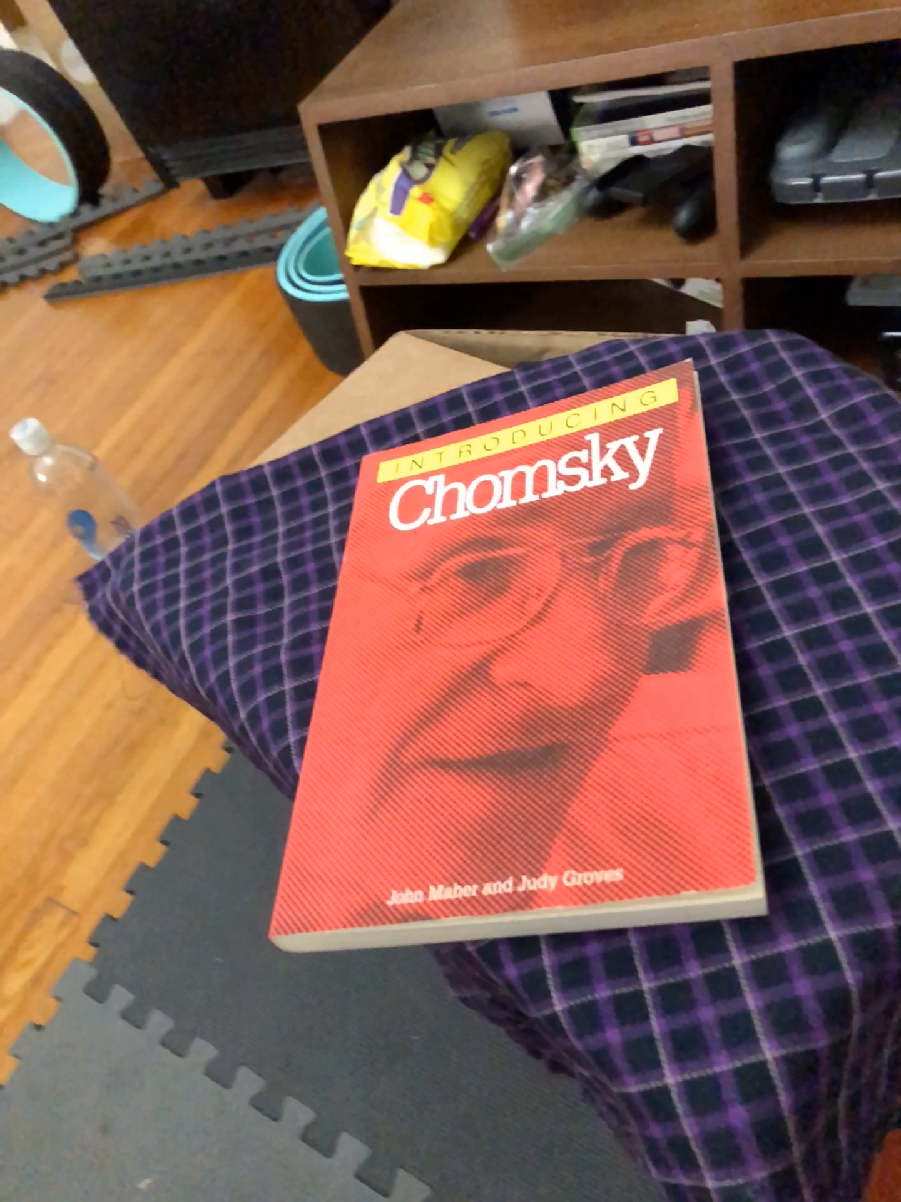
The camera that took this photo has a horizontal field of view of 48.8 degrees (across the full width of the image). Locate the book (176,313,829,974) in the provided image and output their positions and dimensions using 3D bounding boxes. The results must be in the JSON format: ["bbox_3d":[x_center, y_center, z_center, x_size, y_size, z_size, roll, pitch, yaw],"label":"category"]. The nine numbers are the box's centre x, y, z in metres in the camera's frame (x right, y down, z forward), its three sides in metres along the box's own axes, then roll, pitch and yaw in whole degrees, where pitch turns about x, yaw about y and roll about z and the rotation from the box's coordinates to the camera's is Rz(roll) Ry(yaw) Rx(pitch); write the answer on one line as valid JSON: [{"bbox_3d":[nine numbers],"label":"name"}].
[{"bbox_3d":[0.015,0.001,0.347,0.180,0.020,0.241,-11,46,19],"label":"book"}]
